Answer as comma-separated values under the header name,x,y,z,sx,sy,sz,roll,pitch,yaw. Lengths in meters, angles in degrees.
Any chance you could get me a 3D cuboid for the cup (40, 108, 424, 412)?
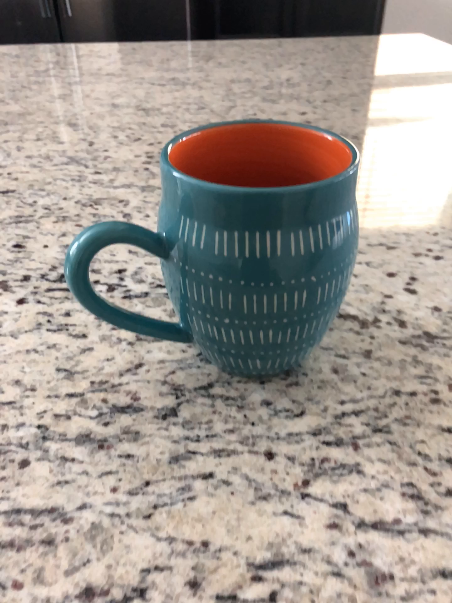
name,x,y,z,sx,sy,sz,roll,pitch,yaw
cup,-0.004,-0.030,0.264,0.150,0.099,0.111,-8,36,-10
